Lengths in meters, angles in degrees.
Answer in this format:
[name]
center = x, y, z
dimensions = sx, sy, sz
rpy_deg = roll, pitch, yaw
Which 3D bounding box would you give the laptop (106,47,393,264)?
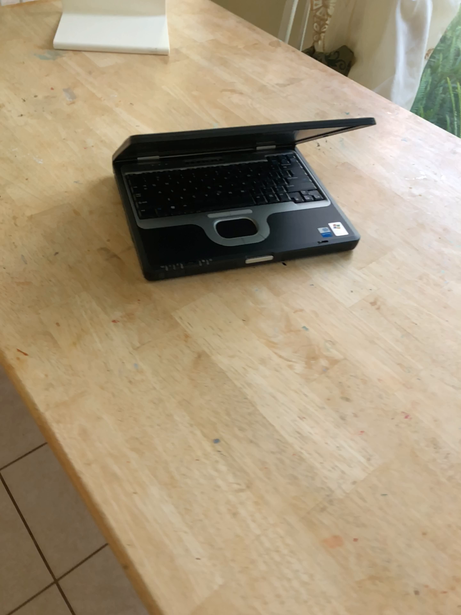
[laptop]
center = 0.004, -0.225, 0.704
dimensions = 0.305, 0.162, 0.256
rpy_deg = -9, 48, -14
